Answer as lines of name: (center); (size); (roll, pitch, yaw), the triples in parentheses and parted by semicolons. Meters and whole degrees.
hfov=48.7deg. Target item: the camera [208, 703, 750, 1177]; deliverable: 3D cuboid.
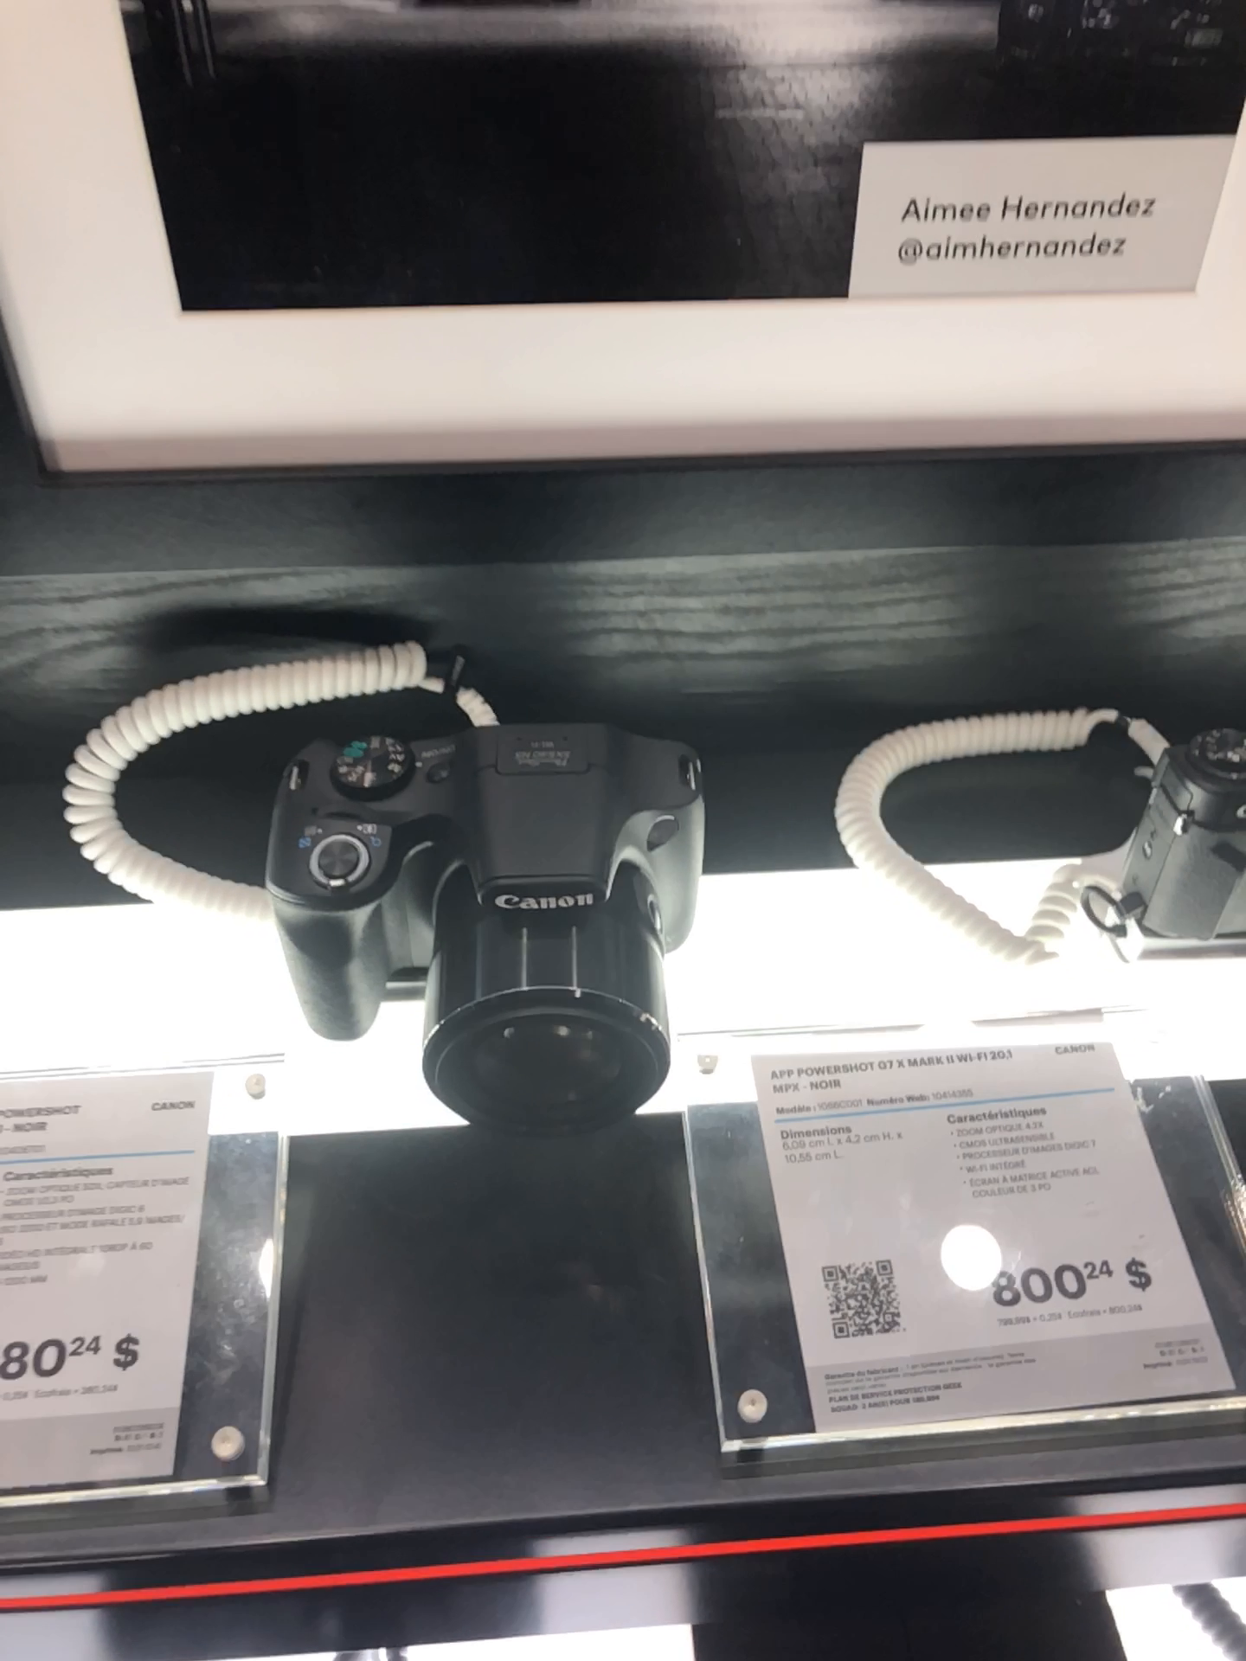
camera: (-0.035, 0.029, 0.370); (0.122, 0.099, 0.071); (-3, 40, -4)
